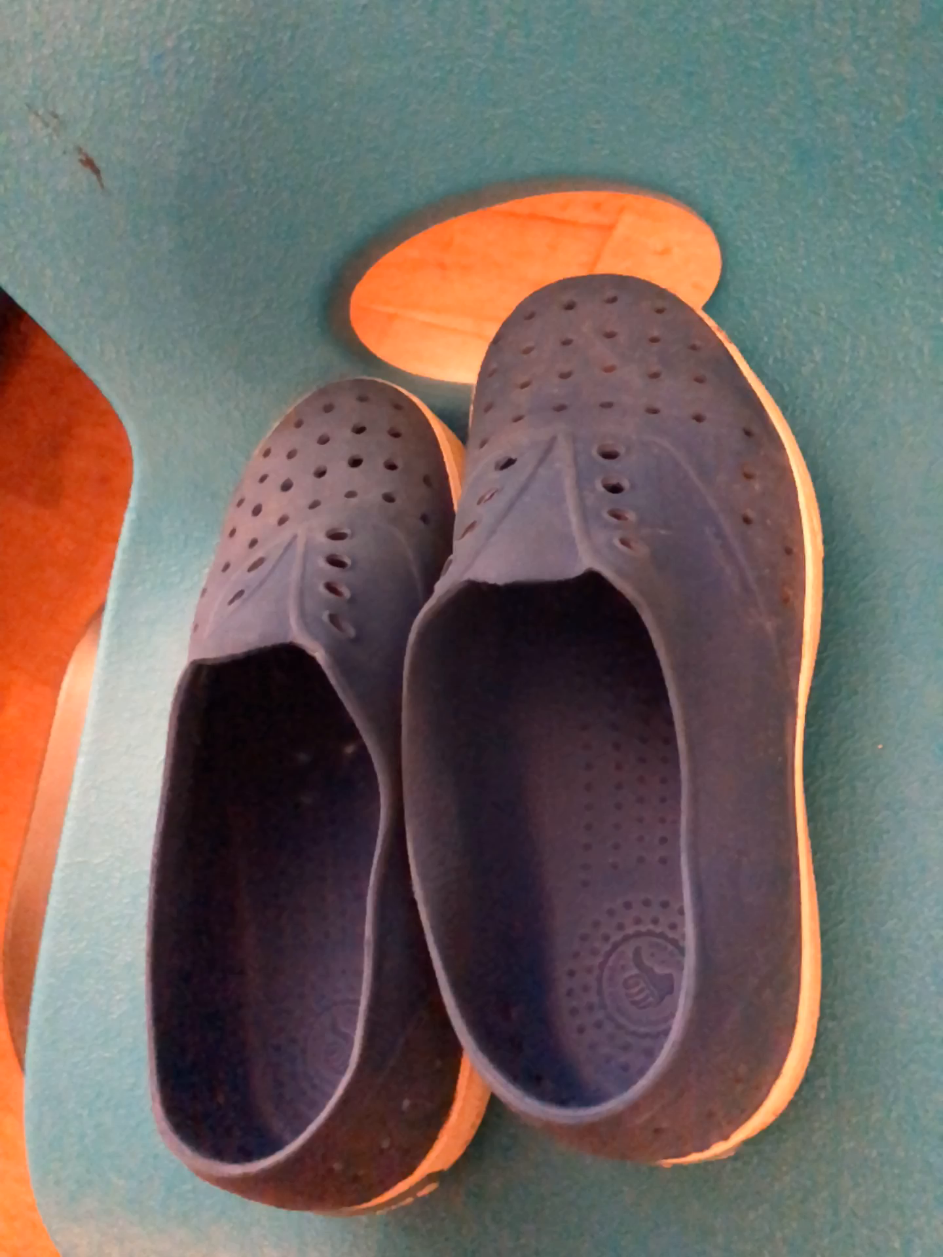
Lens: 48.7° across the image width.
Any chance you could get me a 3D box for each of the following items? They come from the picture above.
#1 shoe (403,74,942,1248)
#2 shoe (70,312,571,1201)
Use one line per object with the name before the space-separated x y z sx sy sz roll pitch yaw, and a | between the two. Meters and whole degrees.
shoe | 0.045 0.001 0.247 0.100 0.070 0.241 -11 66 21
shoe | -0.035 0.034 0.289 0.090 0.080 0.211 -11 66 21
